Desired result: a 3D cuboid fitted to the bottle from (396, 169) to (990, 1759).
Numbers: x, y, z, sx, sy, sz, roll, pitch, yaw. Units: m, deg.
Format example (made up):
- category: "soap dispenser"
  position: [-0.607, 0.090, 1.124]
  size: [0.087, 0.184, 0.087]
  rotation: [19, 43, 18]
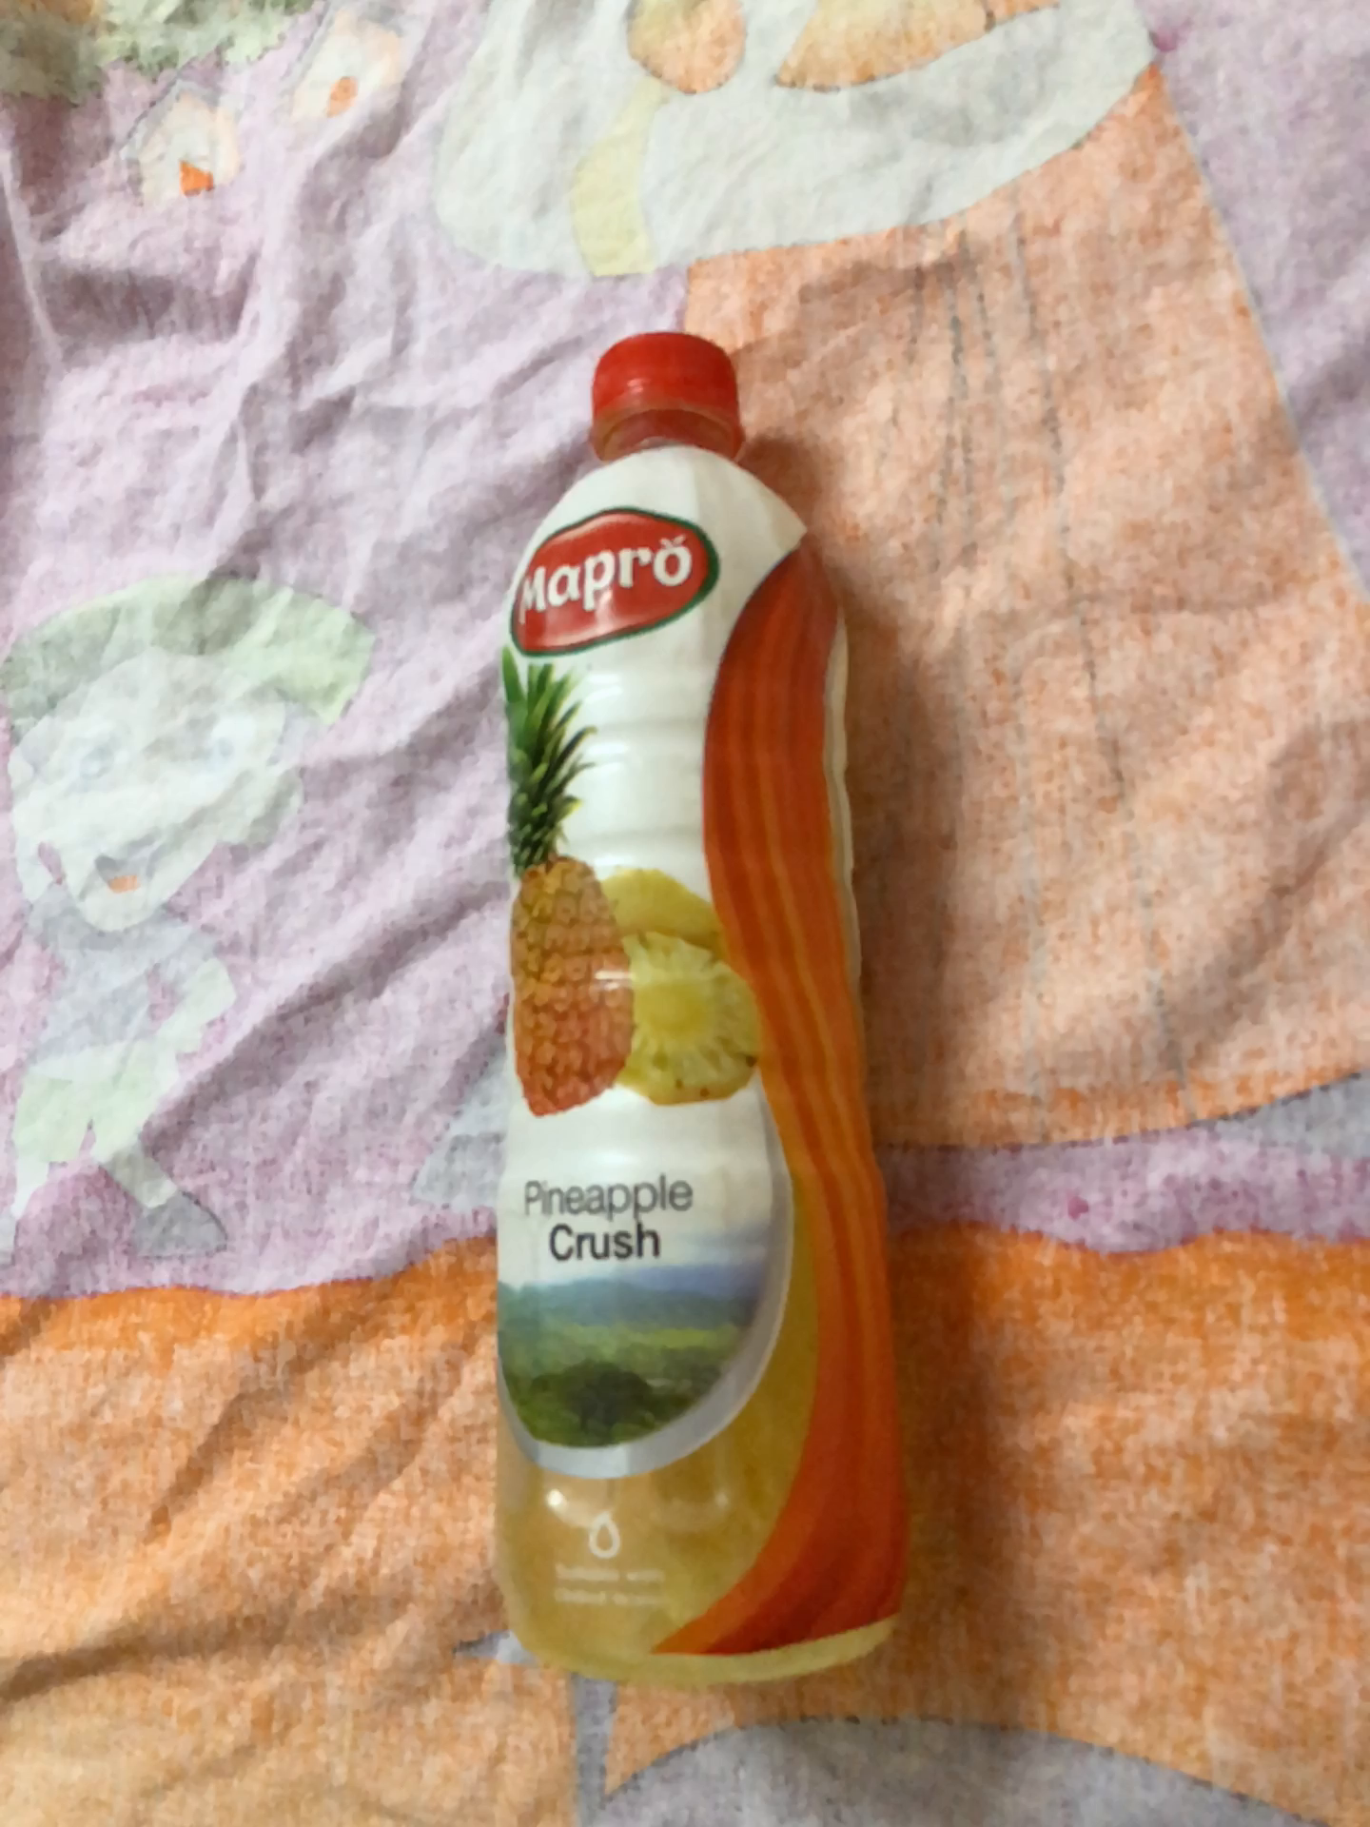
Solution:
- category: "bottle"
  position: [-0.001, 0.005, 0.278]
  size: [0.080, 0.060, 0.250]
  rotation: [-7, 79, 25]
